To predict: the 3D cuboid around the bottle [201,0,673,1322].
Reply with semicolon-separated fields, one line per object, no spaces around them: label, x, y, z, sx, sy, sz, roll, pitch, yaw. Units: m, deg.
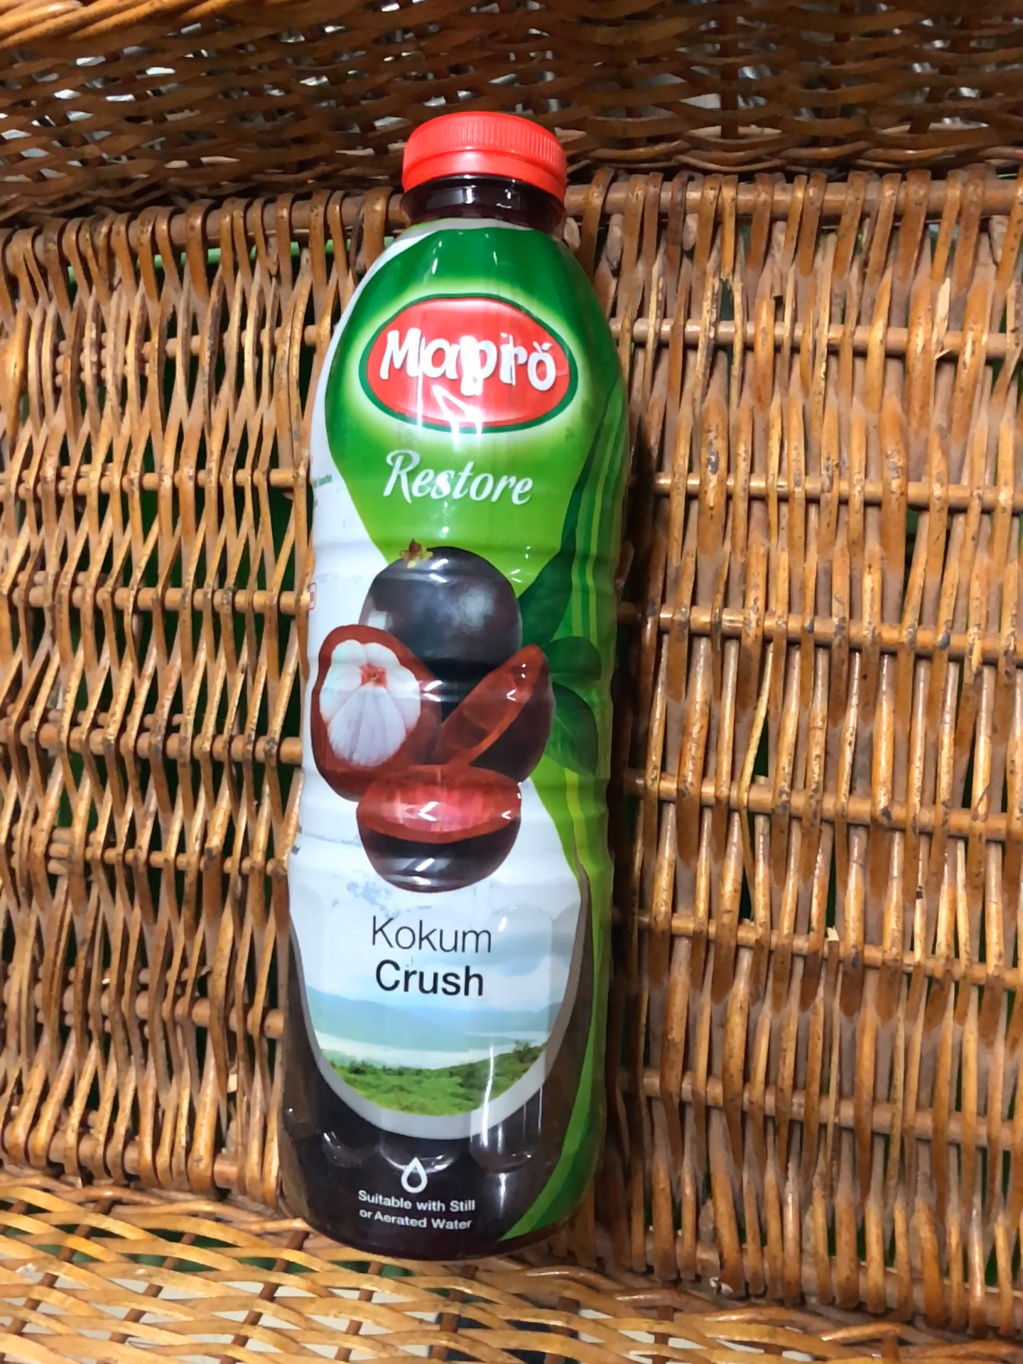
bottle;-0.010;-0.014;0.266;0.080;0.080;0.270;2;88;11
